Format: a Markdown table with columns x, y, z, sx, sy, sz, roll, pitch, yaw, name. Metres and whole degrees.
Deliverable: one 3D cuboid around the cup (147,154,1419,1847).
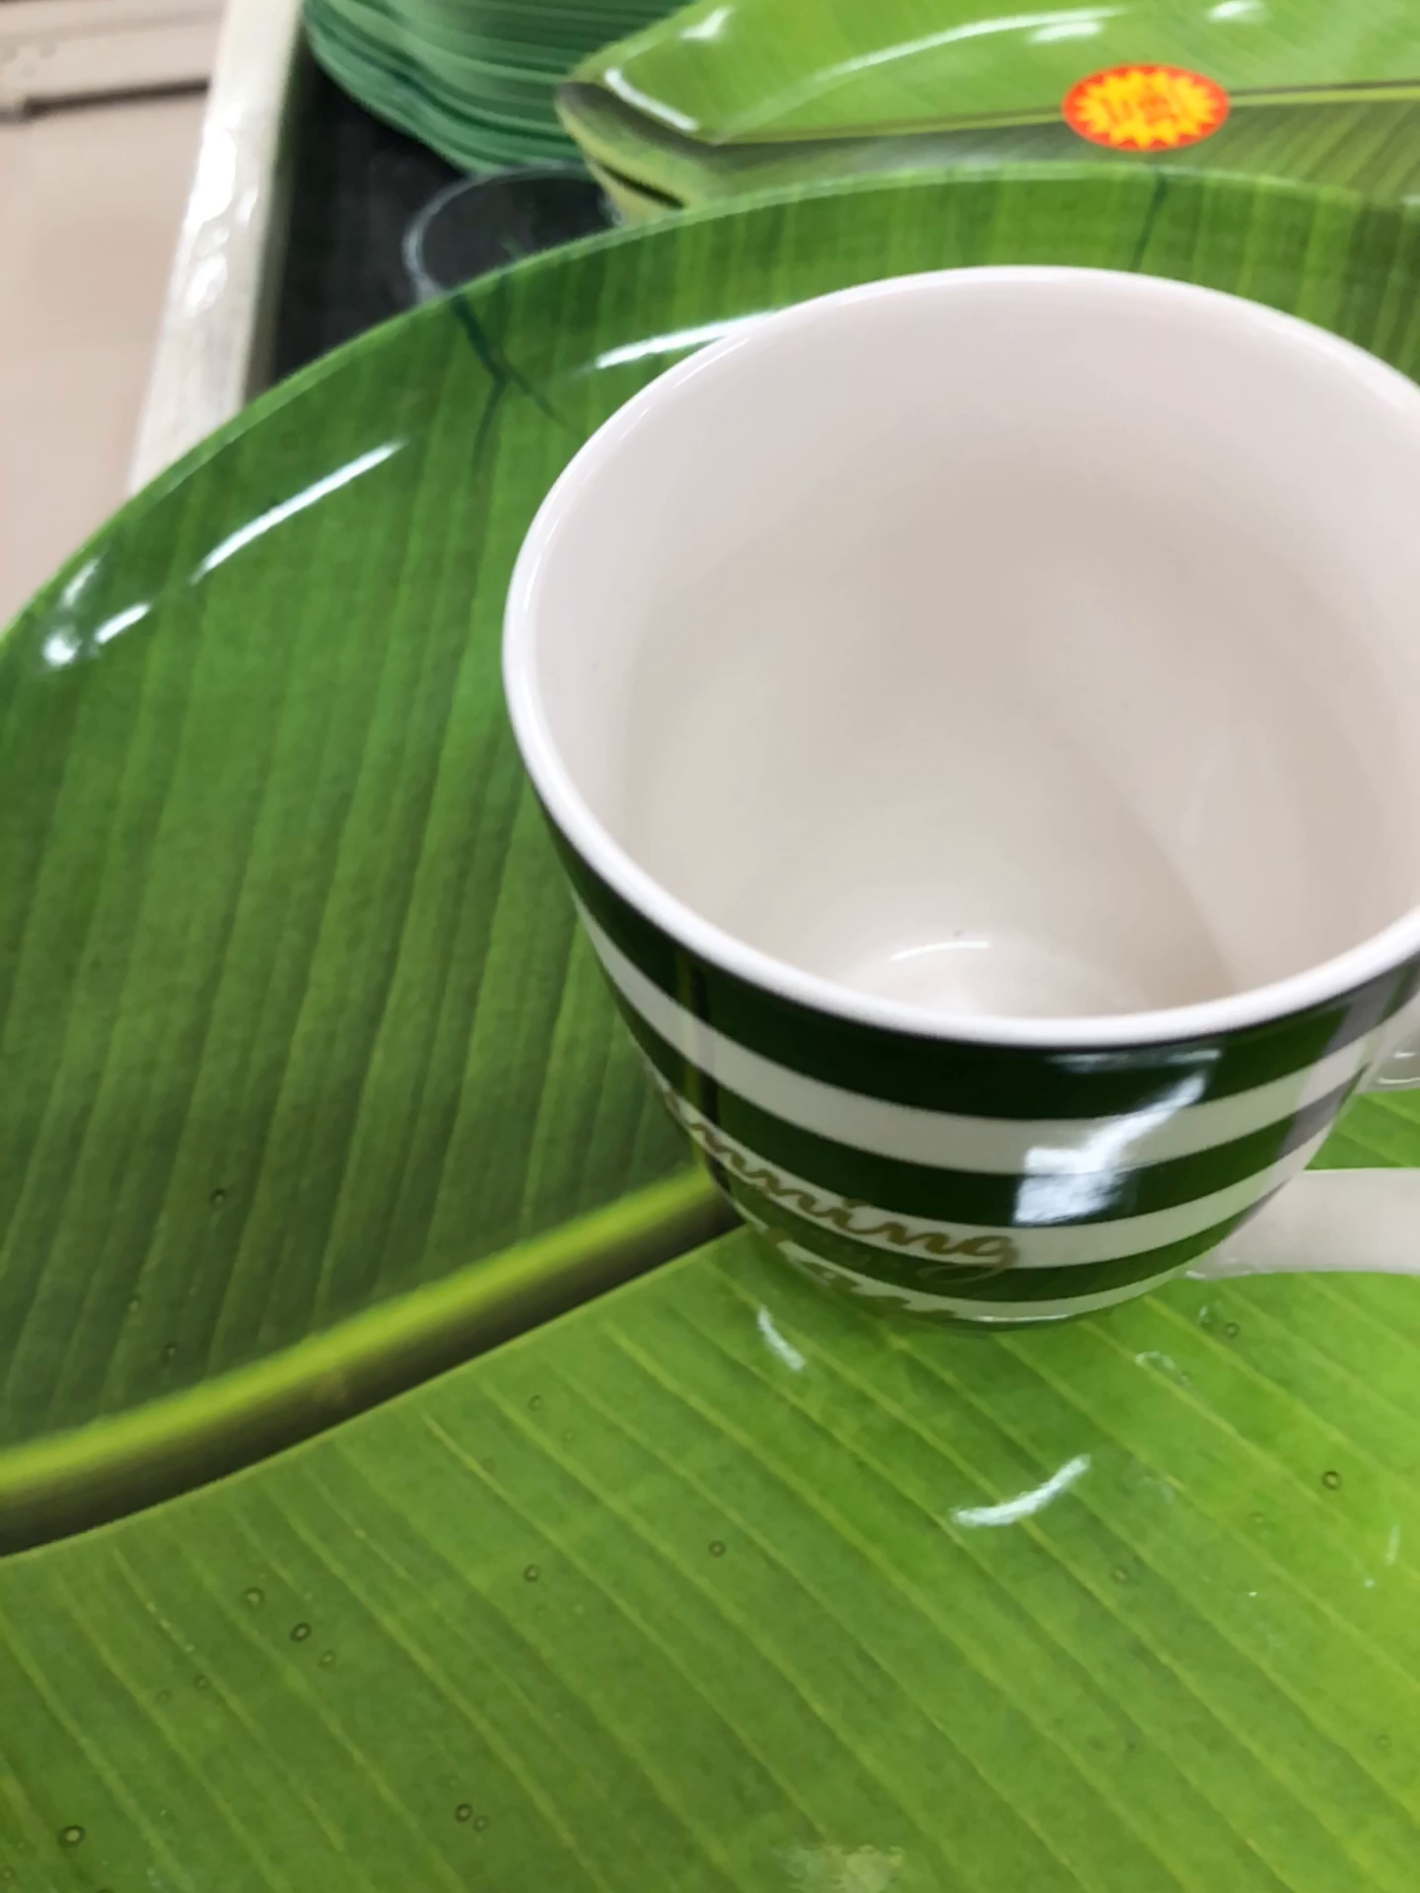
| x | y | z | sx | sy | sz | roll | pitch | yaw | name |
| --- | --- | --- | --- | --- | --- | --- | --- | --- | --- |
| 0.039 | 0.001 | 0.145 | 0.130 | 0.080 | 0.080 | 23 | 61 | 20 | cup |
